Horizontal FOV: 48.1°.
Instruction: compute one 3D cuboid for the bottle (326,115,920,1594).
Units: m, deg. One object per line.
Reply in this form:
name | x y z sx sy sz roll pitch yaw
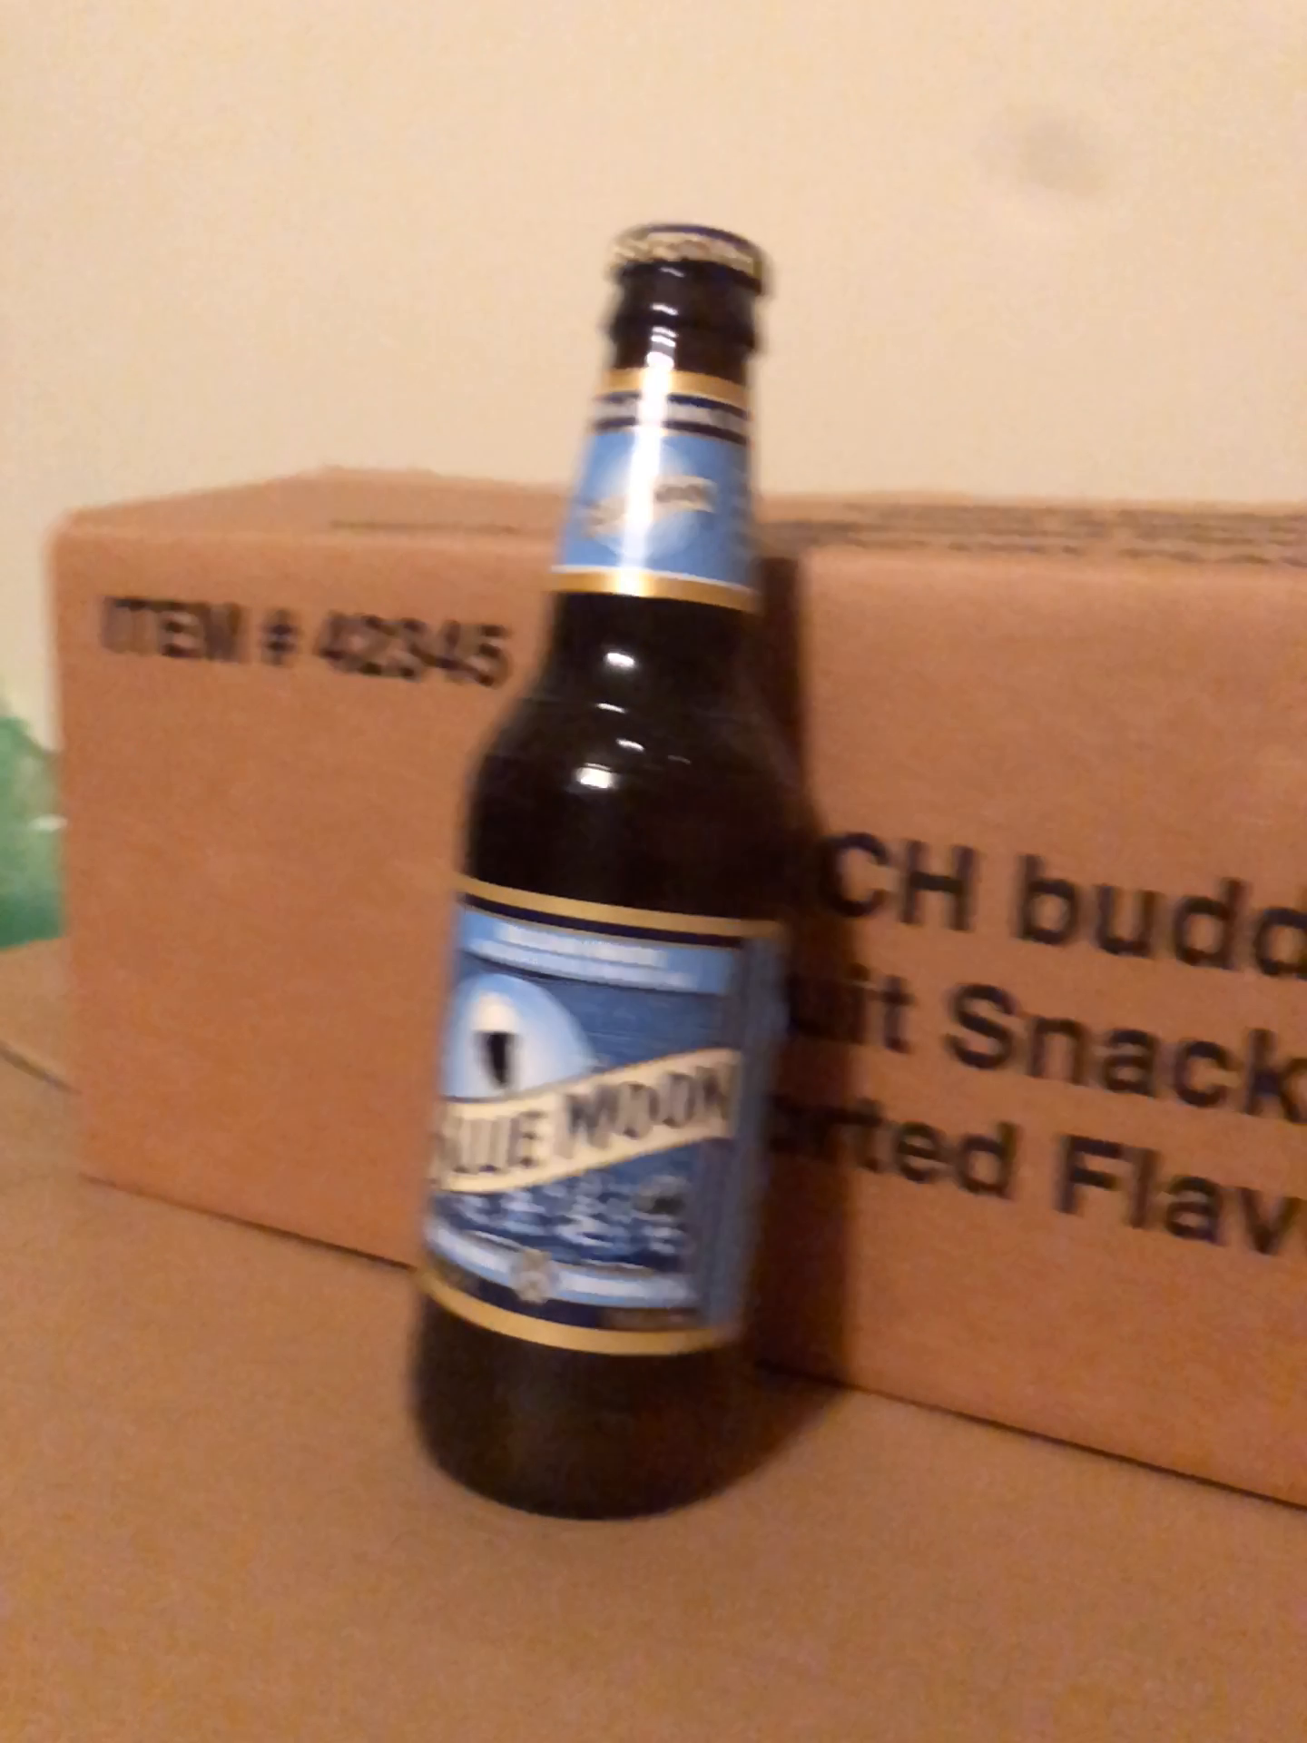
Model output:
bottle | -0.004 -0.003 0.245 0.070 0.210 0.060 6 7 18
